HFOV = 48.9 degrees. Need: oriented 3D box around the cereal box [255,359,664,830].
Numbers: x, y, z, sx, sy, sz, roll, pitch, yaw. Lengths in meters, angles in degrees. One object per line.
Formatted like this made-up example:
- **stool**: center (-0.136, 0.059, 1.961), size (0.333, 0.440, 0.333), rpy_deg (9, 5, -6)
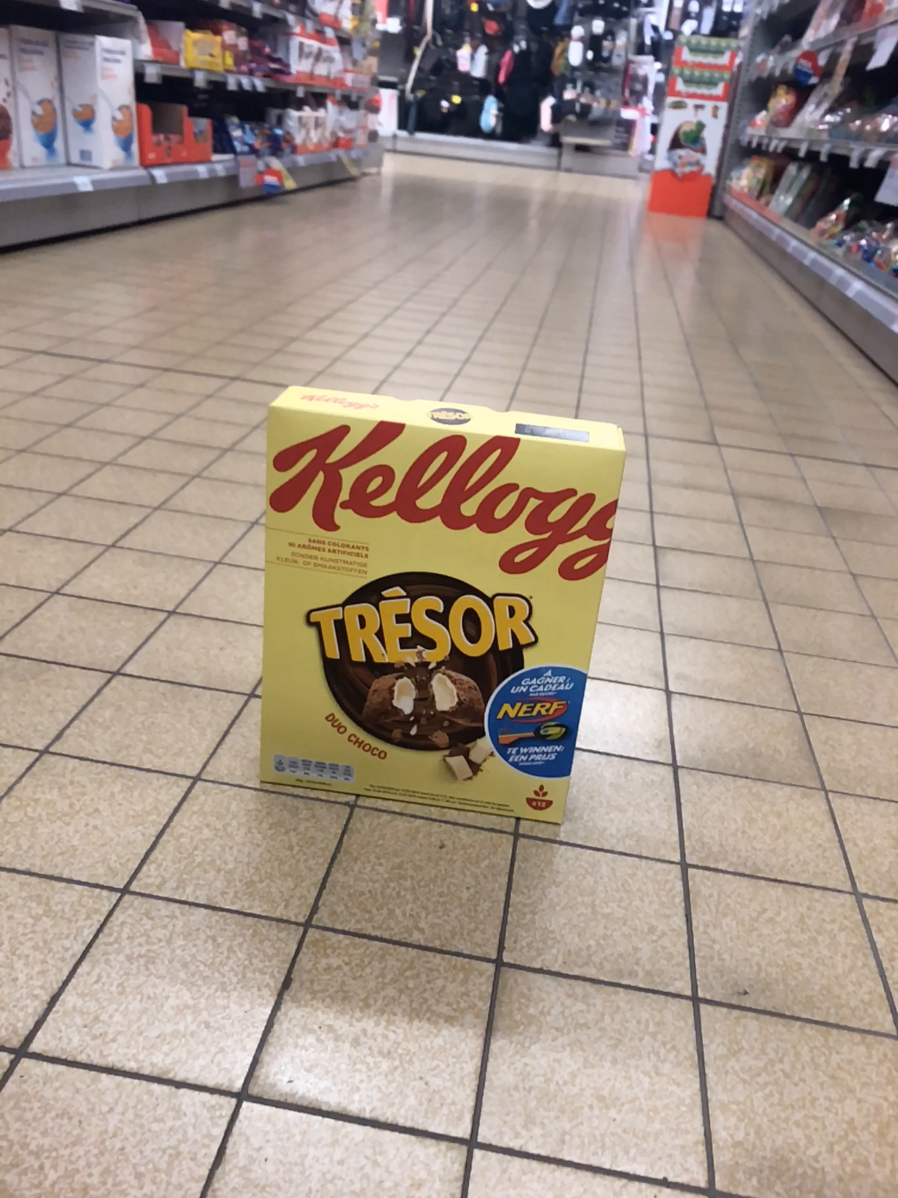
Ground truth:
- **cereal box**: center (-0.002, 0.002, 0.563), size (0.200, 0.239, 0.060), rpy_deg (8, 25, 4)
